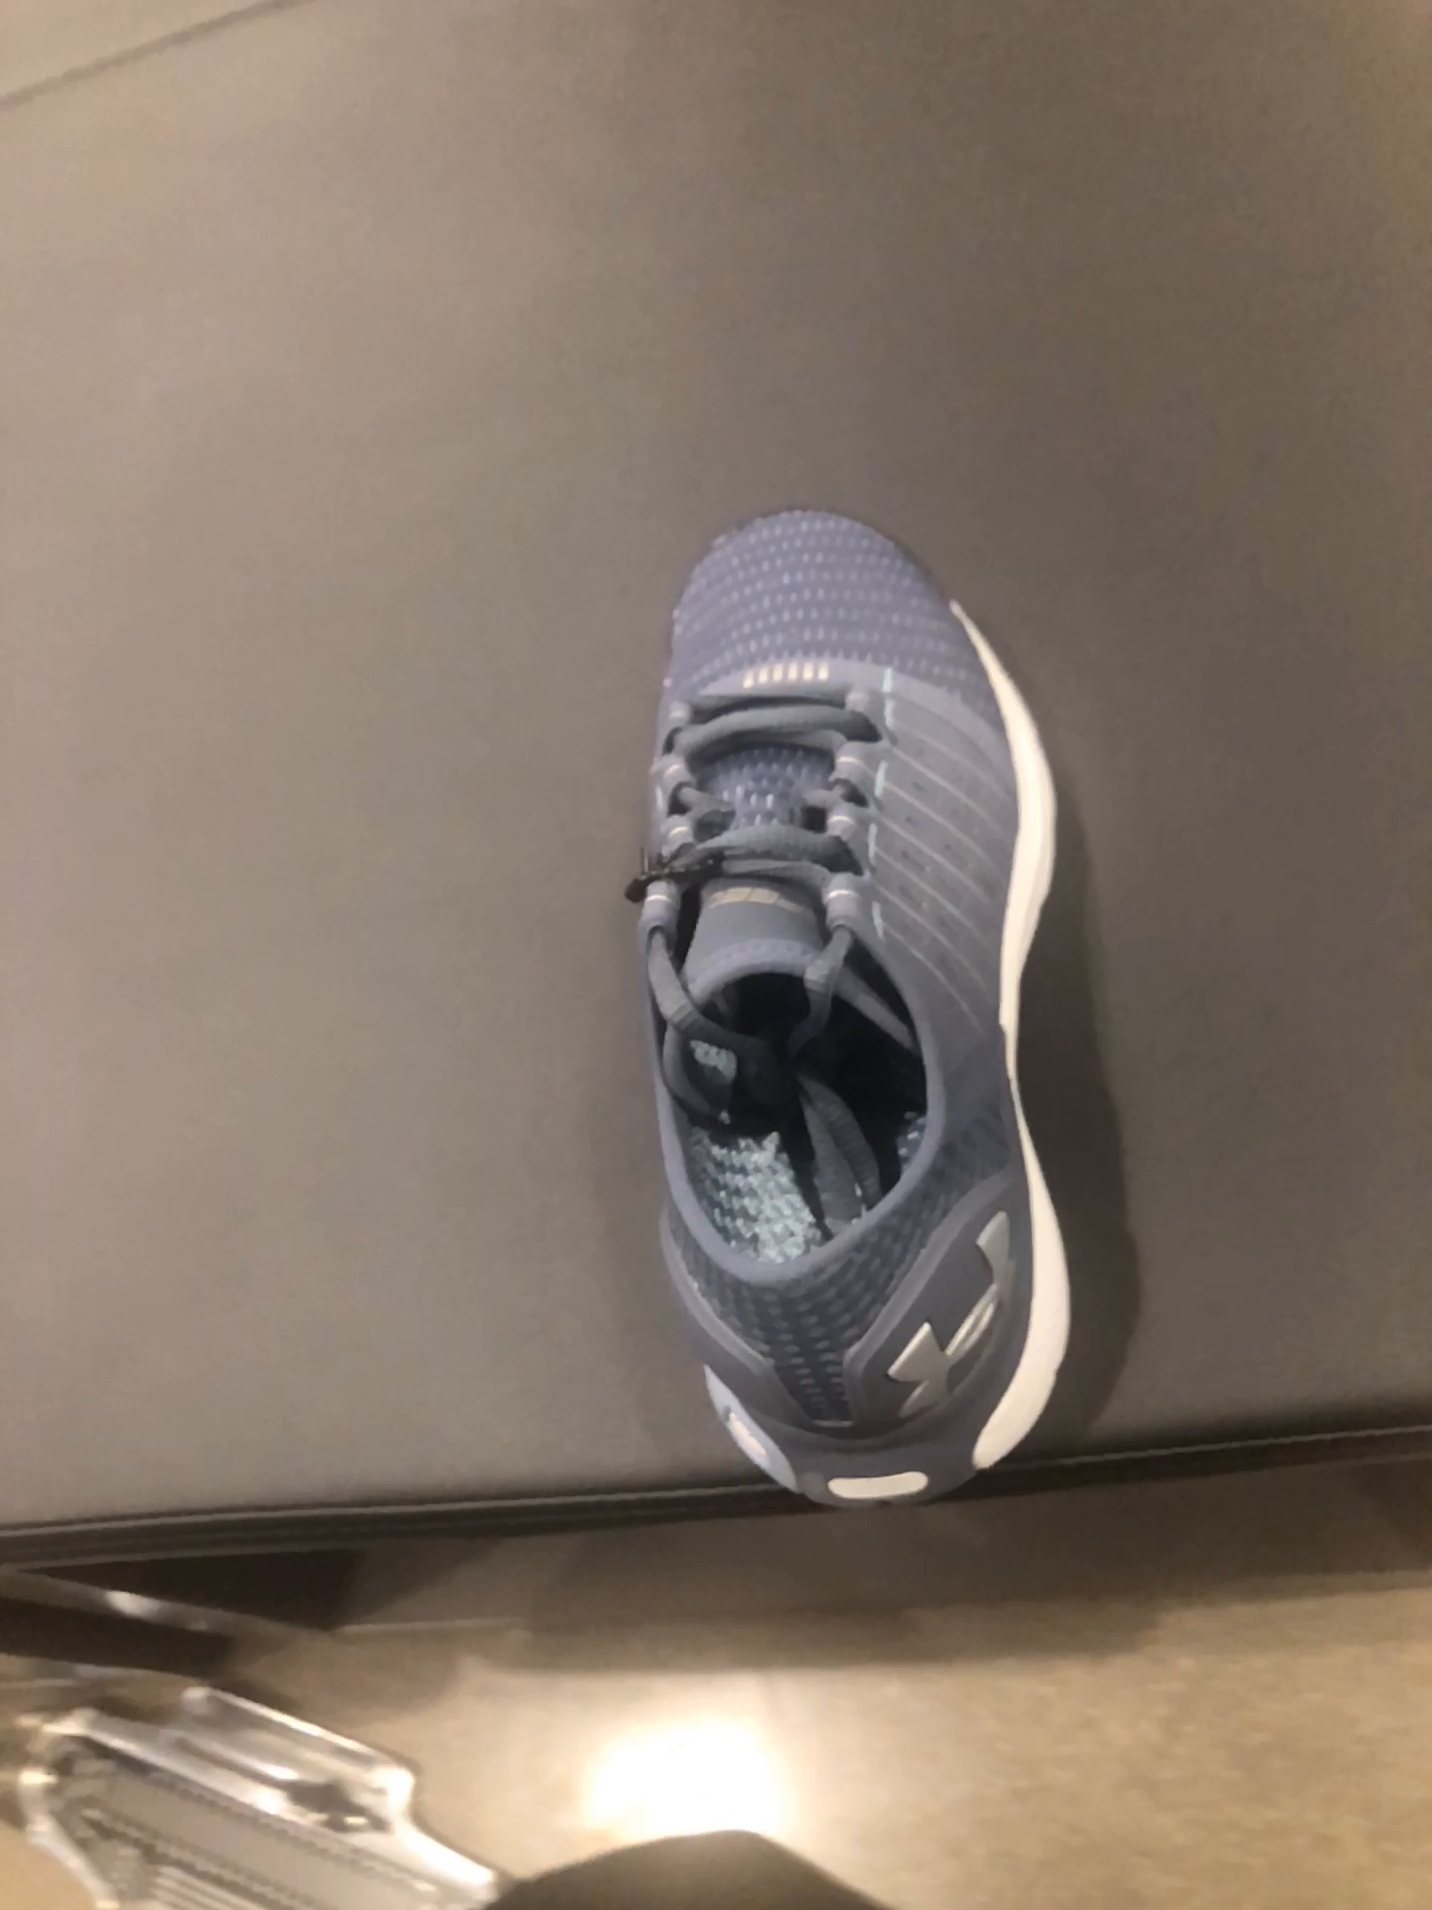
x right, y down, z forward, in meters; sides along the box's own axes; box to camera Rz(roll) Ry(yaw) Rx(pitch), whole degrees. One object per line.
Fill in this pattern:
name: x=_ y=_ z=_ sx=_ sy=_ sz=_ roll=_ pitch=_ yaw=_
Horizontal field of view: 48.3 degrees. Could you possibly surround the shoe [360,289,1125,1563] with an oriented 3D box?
shoe: x=0.009 y=-0.009 z=0.358 sx=0.120 sy=0.097 sz=0.255 roll=-9 pitch=60 yaw=14
